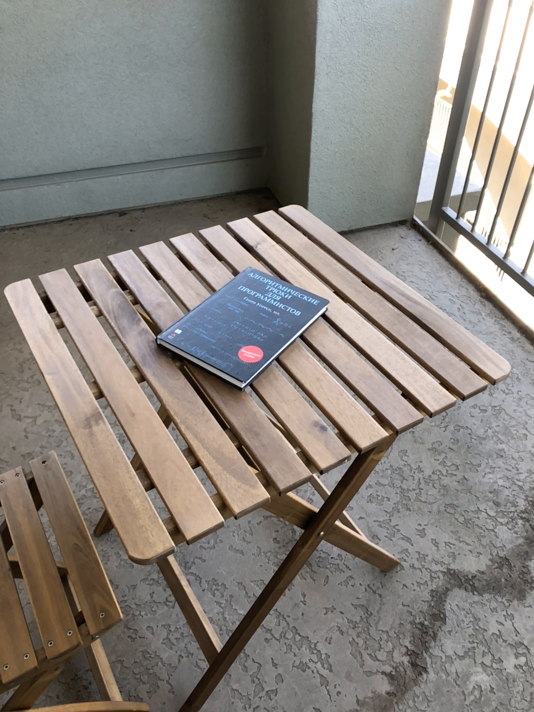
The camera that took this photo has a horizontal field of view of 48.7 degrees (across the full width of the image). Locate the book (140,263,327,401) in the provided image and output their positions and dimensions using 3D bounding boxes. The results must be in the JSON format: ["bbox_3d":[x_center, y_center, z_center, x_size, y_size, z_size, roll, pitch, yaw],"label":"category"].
[{"bbox_3d":[-0.046,-0.051,0.944,0.180,0.030,0.251,26,48,25],"label":"book"}]
